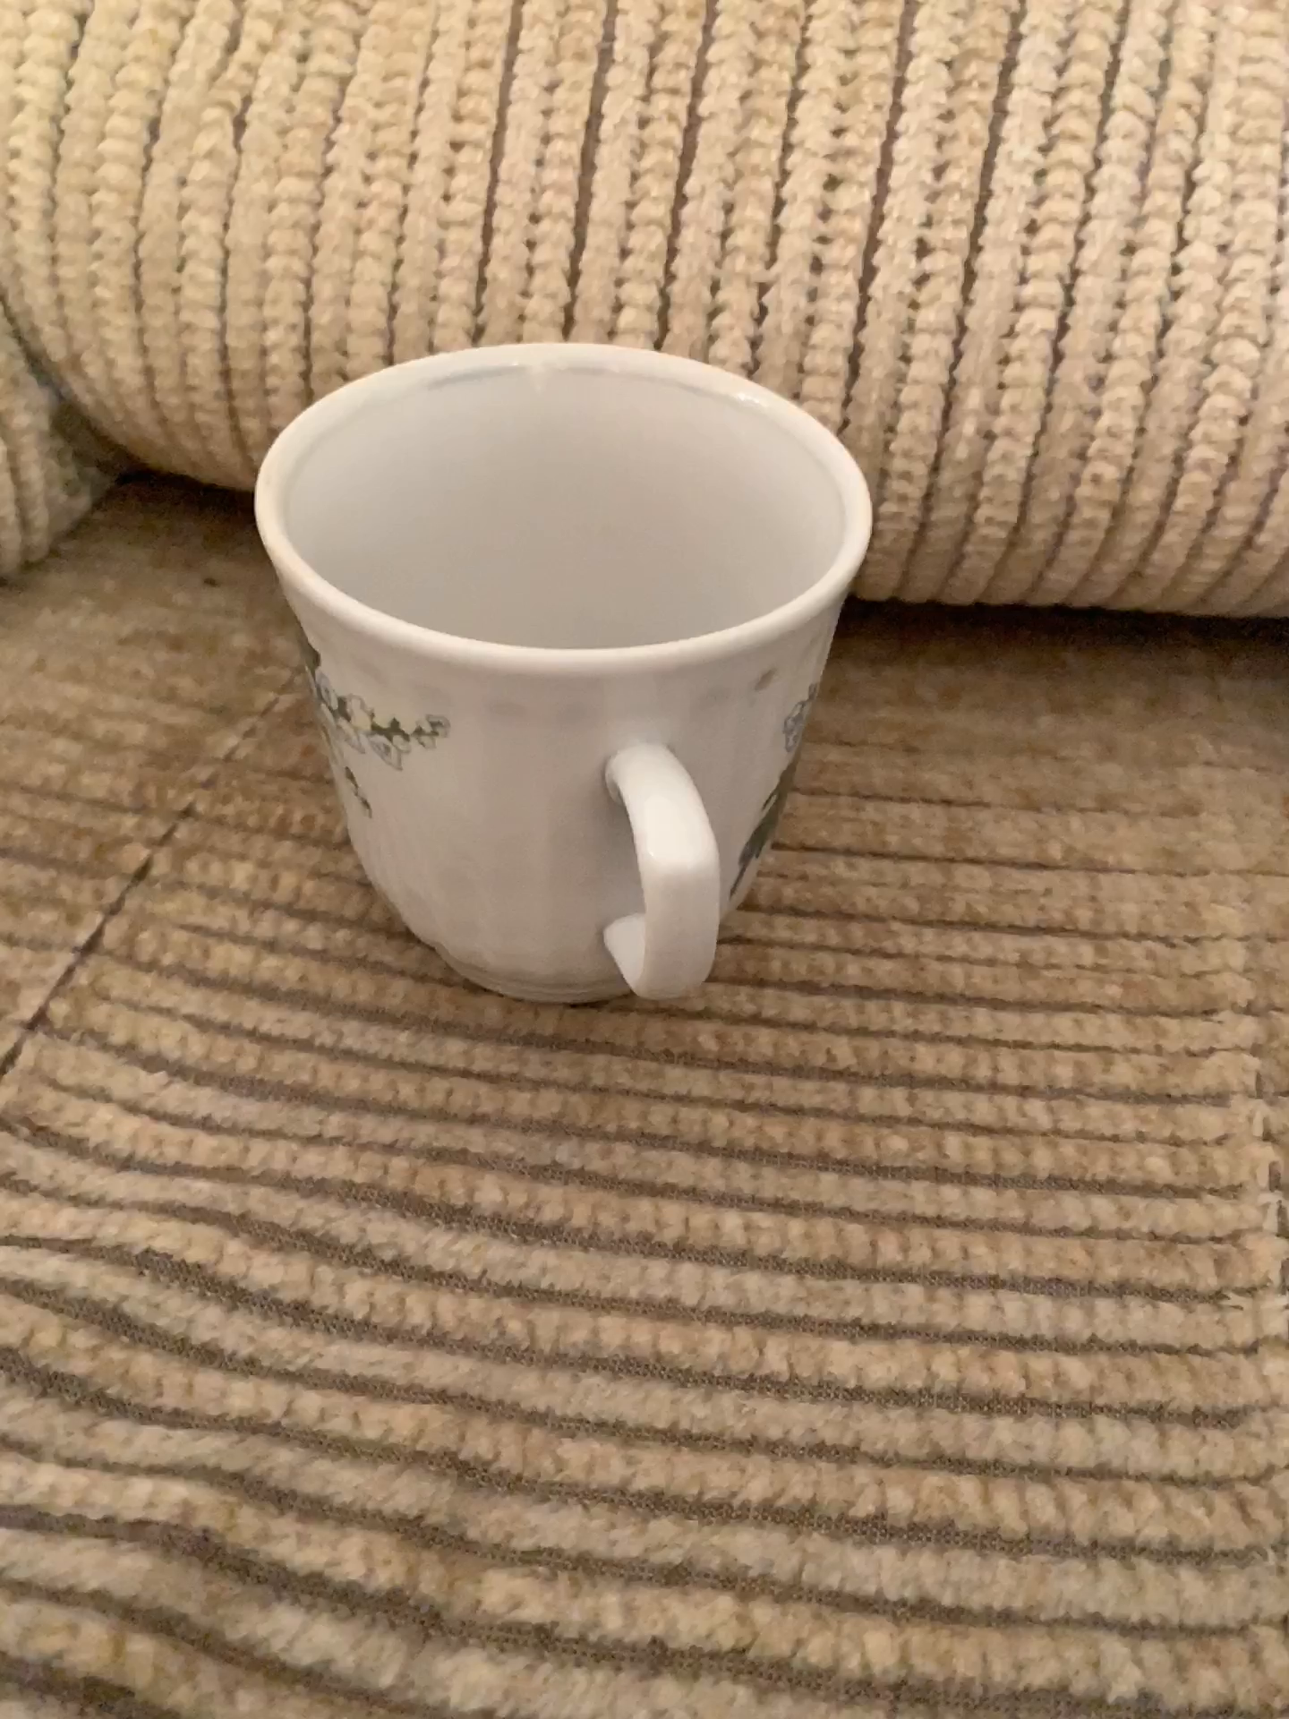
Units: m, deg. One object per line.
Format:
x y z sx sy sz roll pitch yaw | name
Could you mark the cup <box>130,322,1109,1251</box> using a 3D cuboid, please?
-0.012 -0.023 0.210 0.095 0.077 0.113 -16 42 -23 | cup
